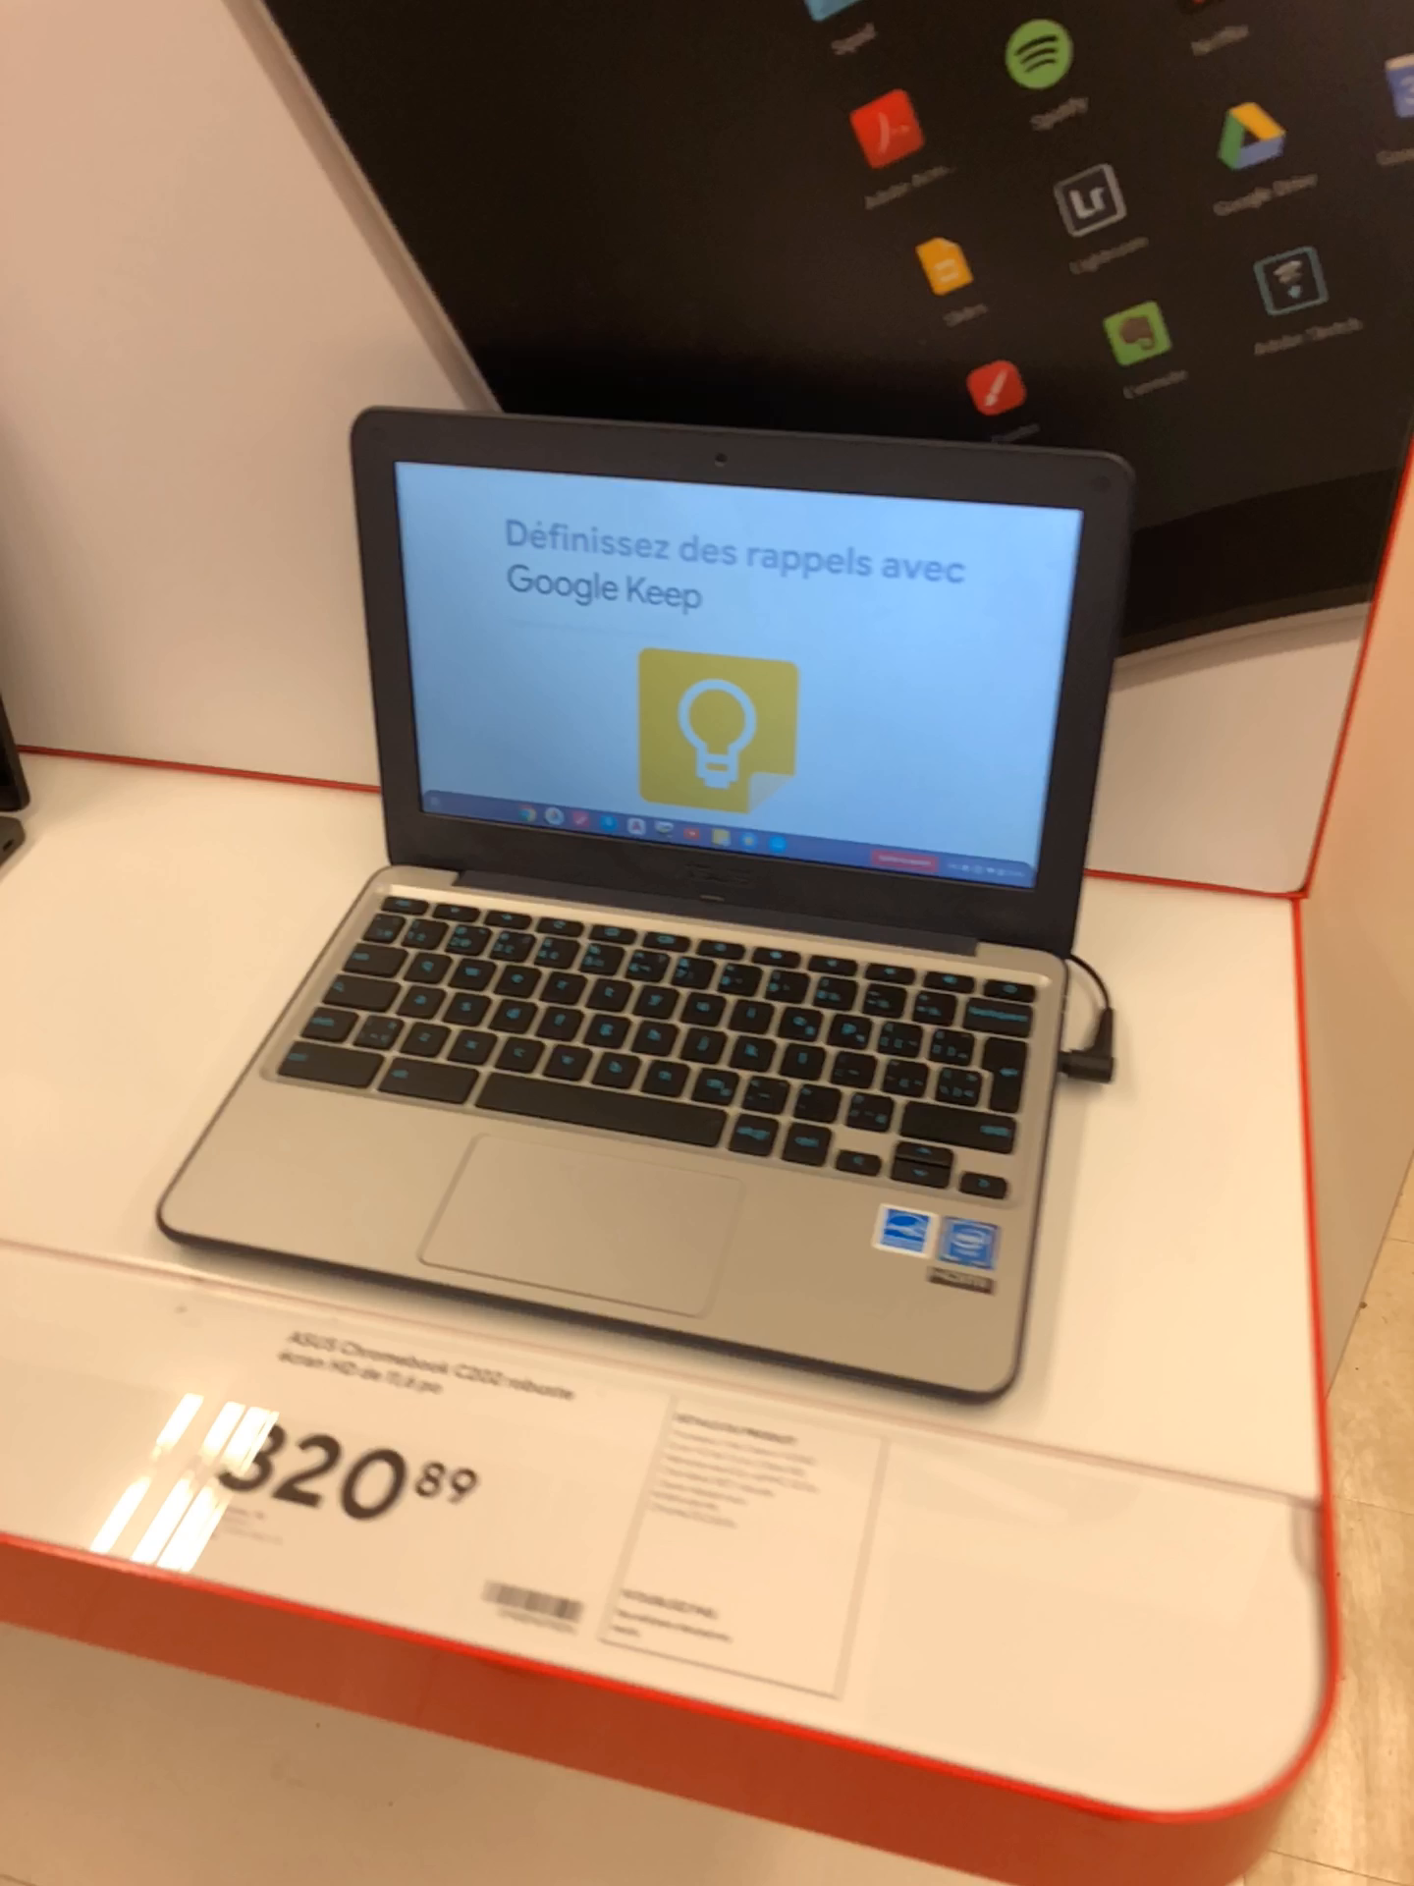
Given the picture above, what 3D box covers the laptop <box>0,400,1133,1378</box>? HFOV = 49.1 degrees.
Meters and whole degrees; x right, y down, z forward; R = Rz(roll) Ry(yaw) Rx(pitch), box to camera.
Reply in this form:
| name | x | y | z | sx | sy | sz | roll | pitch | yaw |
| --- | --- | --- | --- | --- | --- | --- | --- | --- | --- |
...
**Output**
| name | x | y | z | sx | sy | sz | roll | pitch | yaw |
| --- | --- | --- | --- | --- | --- | --- | --- | --- | --- |
| laptop | -0.019 | -0.034 | 0.509 | 0.275 | 0.174 | 0.231 | 8 | 44 | 12 |
